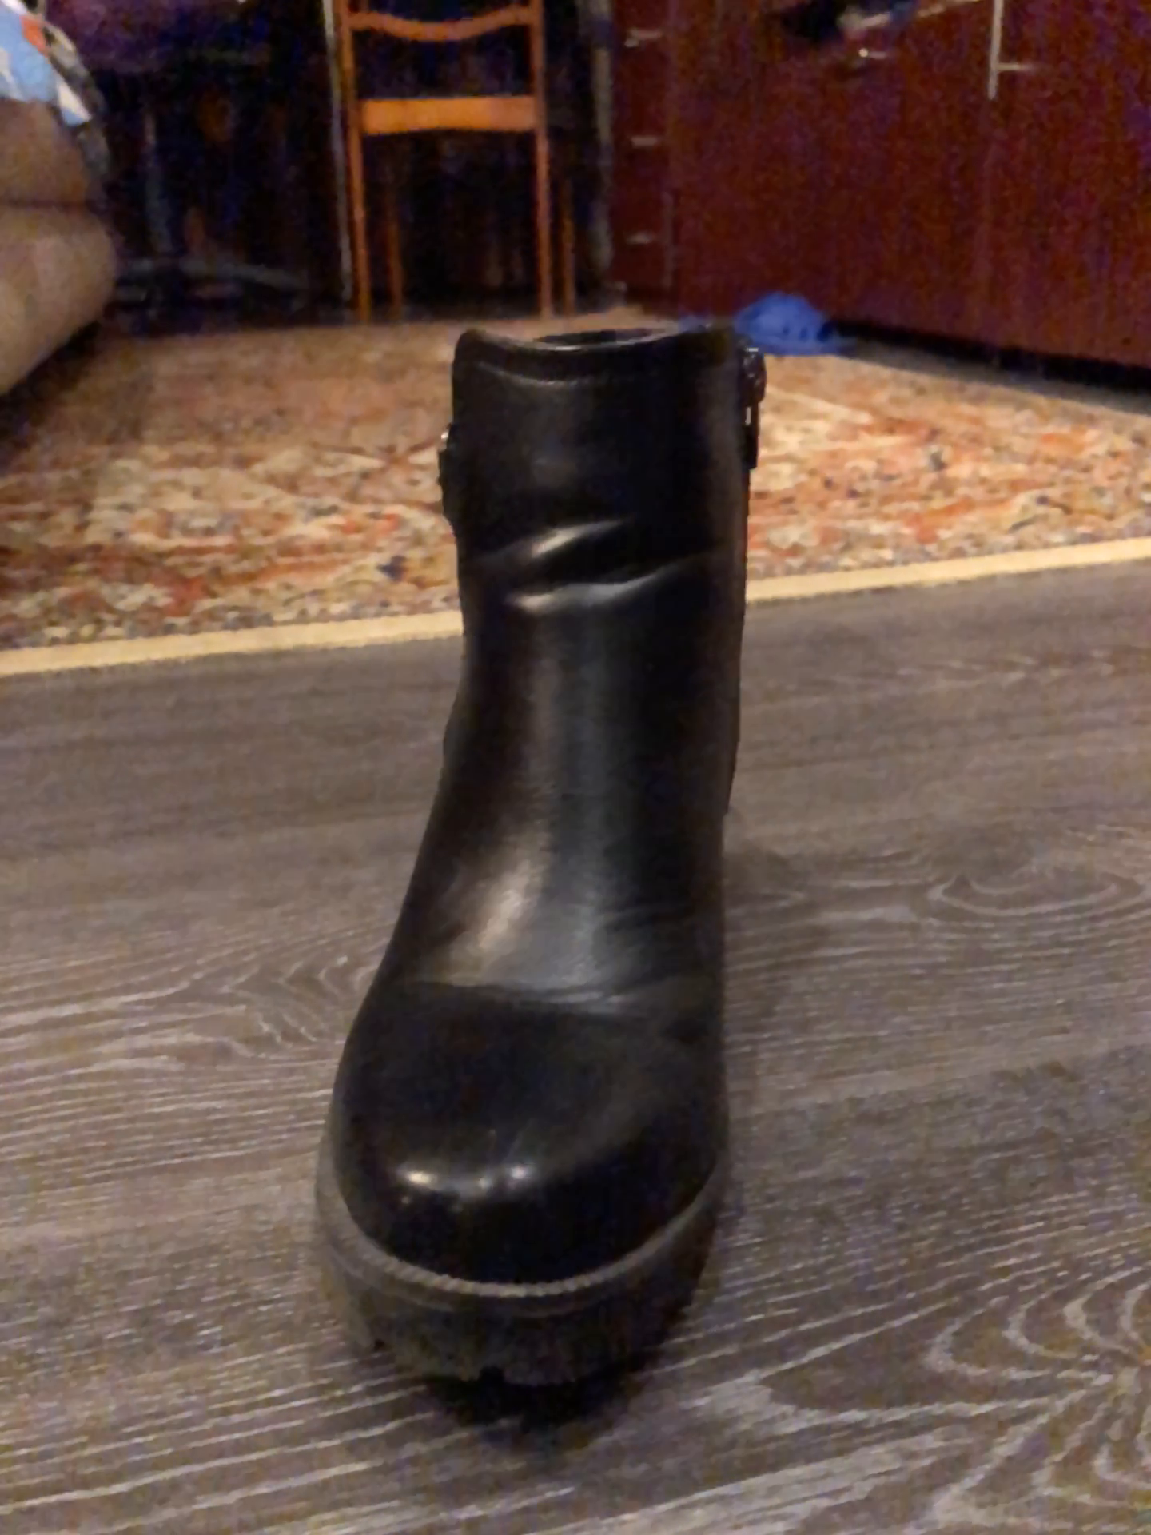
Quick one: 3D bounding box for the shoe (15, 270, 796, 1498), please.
[{"bbox_3d":[-0.001,-0.012,0.293,0.090,0.179,0.241,3,23,10],"label":"shoe"}]
